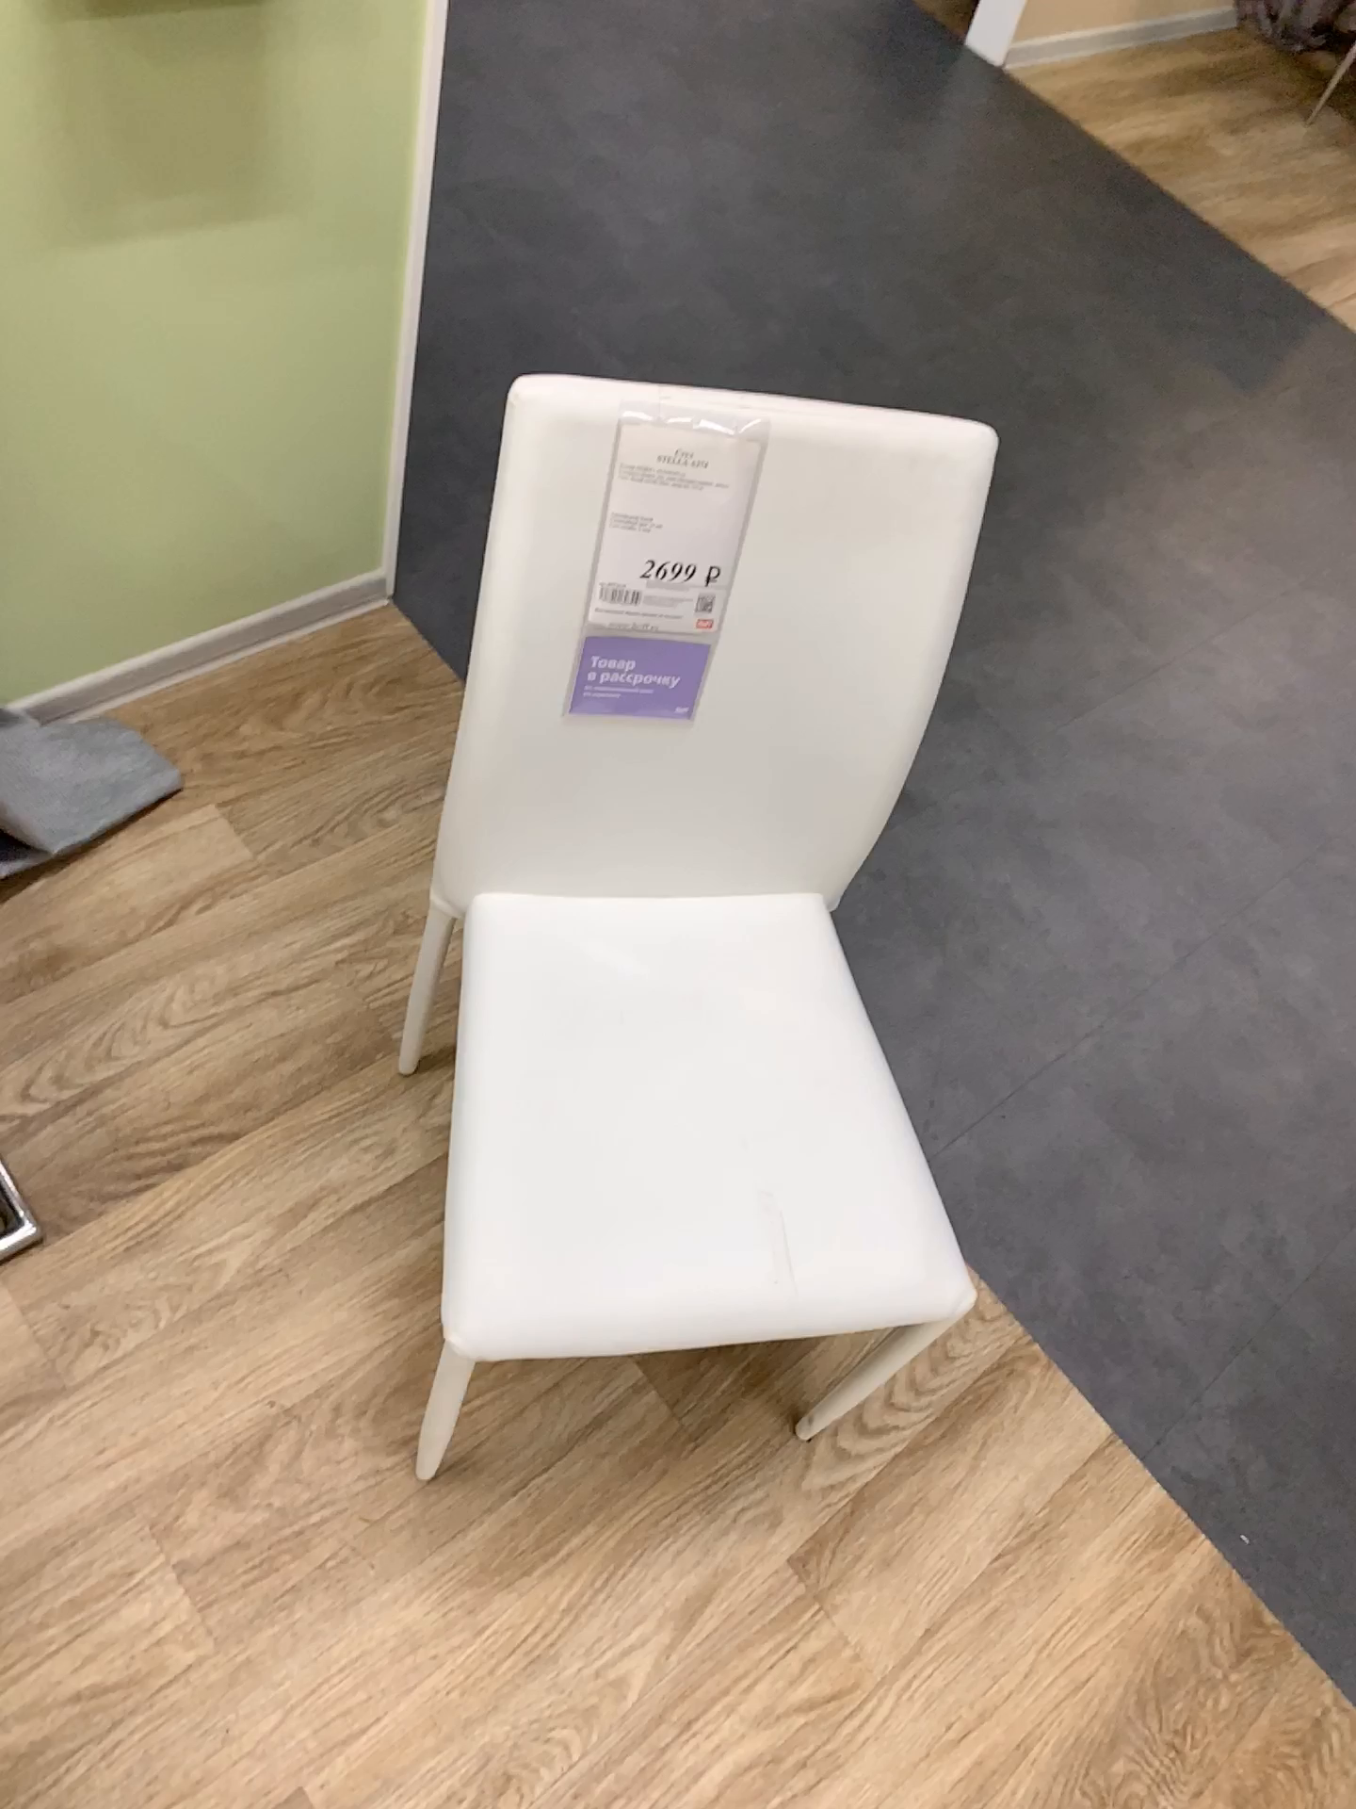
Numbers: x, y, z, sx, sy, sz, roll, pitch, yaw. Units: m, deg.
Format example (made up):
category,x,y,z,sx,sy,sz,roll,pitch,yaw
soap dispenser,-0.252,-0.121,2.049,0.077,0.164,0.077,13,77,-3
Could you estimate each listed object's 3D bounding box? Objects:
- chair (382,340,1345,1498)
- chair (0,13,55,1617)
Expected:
category,x,y,z,sx,sy,sz,roll,pitch,yaw
chair,0.007,0.104,1.229,0.451,0.926,0.552,0,56,-16
chair,-0.869,0.028,0.959,0.562,0.946,0.450,-29,68,-31
